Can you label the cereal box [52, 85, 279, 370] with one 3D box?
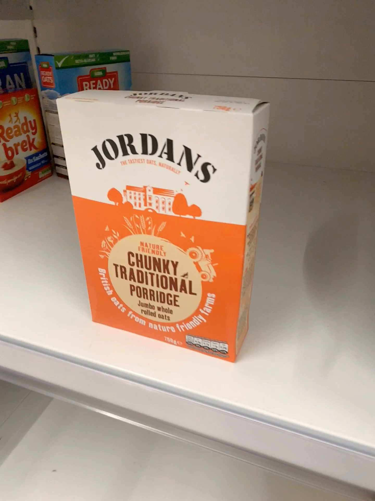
[{"bbox_3d":[-0.020,-0.020,0.402,0.190,0.267,0.060,11,32,19],"label":"cereal box"}]
